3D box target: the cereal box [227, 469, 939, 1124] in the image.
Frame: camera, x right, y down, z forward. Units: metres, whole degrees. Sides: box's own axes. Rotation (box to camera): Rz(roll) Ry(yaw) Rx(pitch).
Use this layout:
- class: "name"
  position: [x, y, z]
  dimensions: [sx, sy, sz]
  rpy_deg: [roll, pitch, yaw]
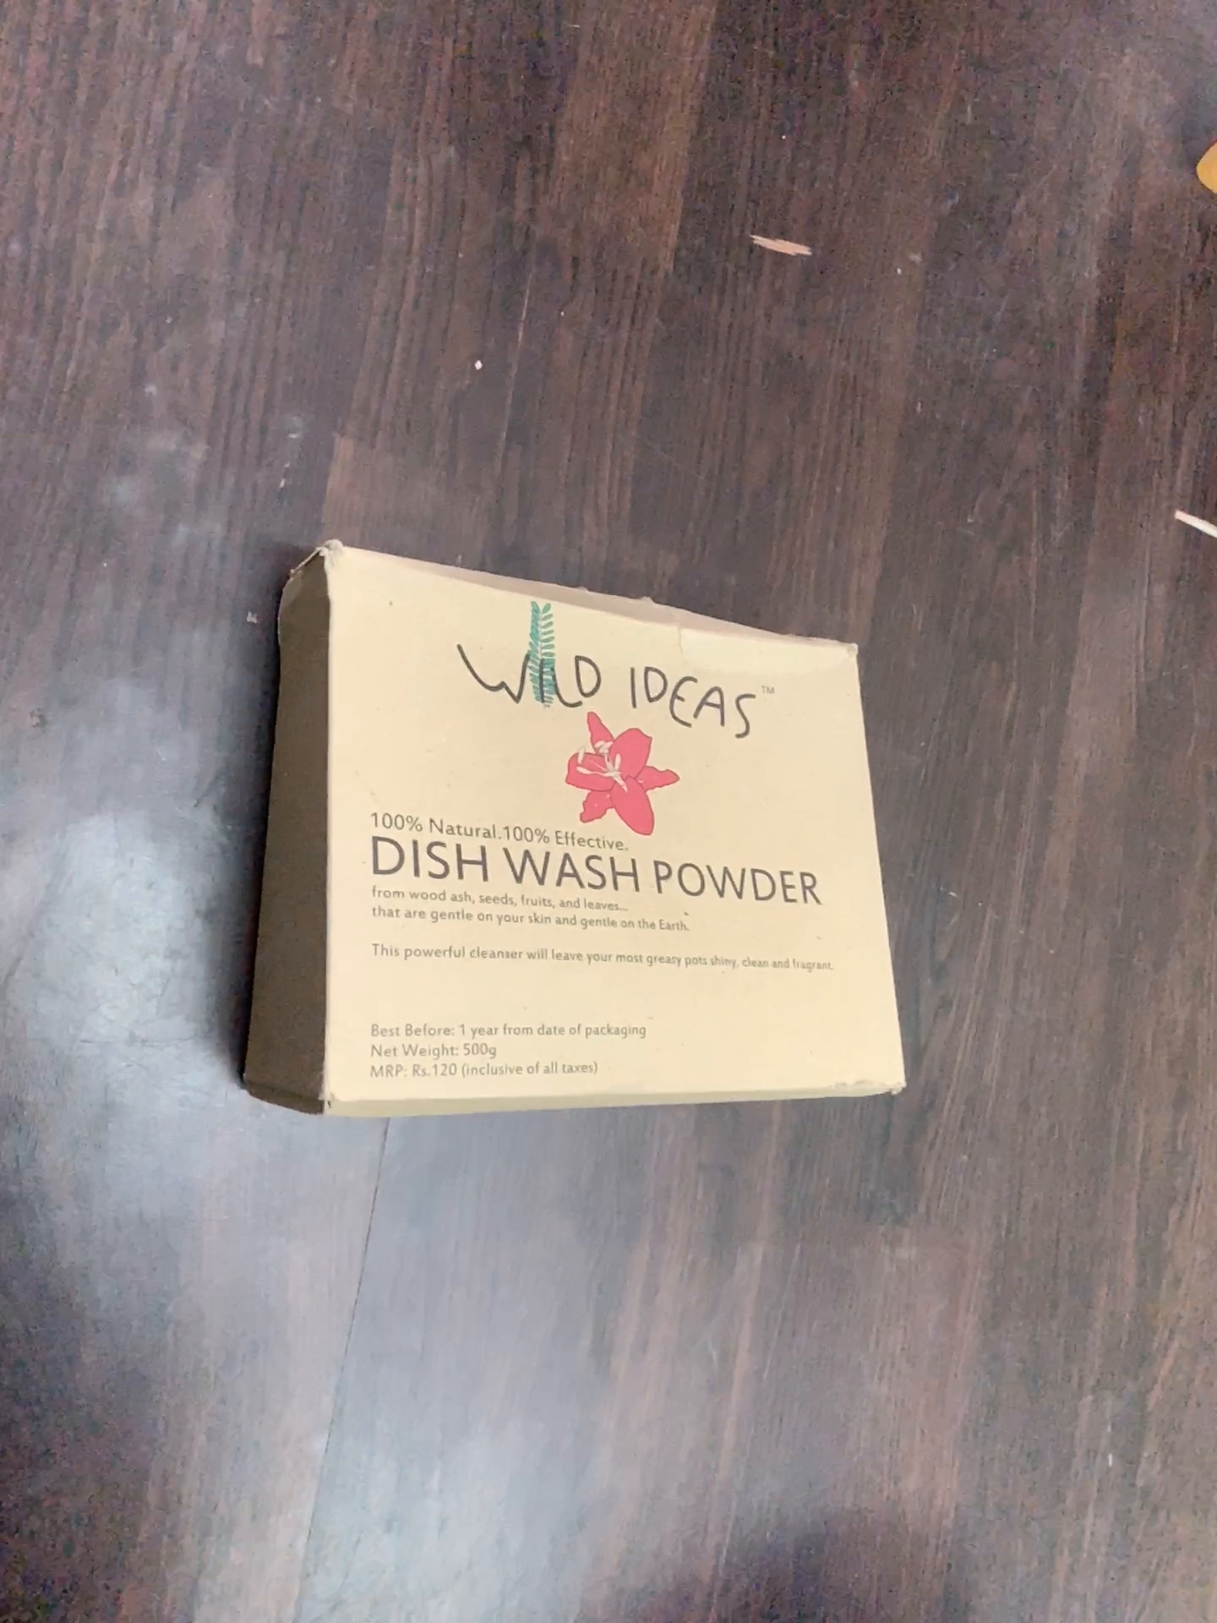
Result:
- class: "cereal box"
  position: [-0.005, 0.006, 0.349]
  dimensions: [0.181, 0.060, 0.150]
  rpy_deg: [6, 73, -29]
